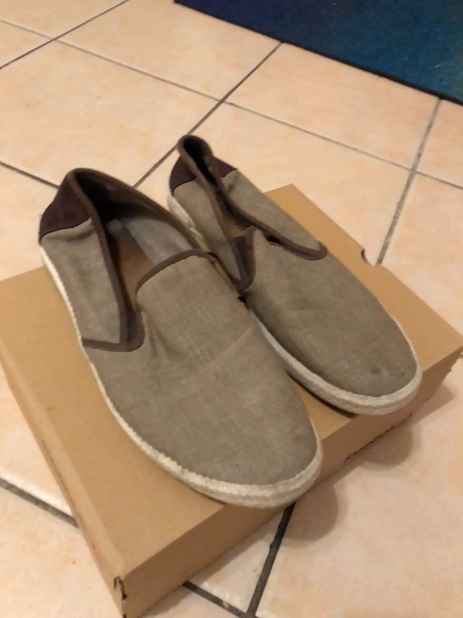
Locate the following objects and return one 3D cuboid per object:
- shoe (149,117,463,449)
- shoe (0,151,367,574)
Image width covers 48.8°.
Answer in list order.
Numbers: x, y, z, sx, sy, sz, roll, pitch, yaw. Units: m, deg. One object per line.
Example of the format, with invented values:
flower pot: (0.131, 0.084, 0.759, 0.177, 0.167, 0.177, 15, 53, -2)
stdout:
shoe: (0.044, -0.041, 0.396, 0.100, 0.070, 0.271, -22, 56, -26)
shoe: (-0.058, 0.009, 0.356, 0.110, 0.070, 0.293, -25, 58, -28)
